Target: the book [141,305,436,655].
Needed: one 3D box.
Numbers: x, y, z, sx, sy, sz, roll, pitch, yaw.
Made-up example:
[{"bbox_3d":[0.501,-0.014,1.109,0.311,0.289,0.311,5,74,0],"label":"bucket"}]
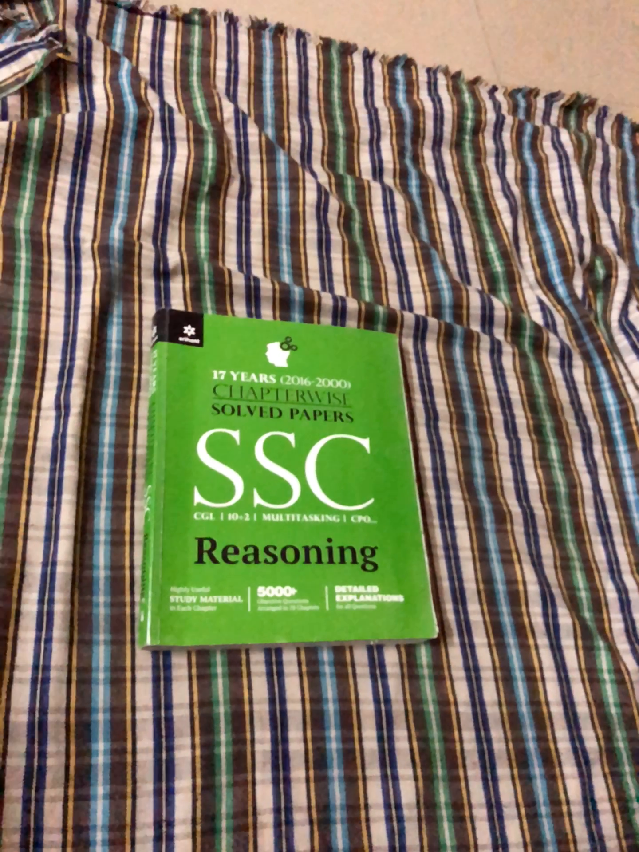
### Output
[{"bbox_3d":[-0.028,0.038,0.572,0.210,0.040,0.270,4,64,-16],"label":"book"}]
